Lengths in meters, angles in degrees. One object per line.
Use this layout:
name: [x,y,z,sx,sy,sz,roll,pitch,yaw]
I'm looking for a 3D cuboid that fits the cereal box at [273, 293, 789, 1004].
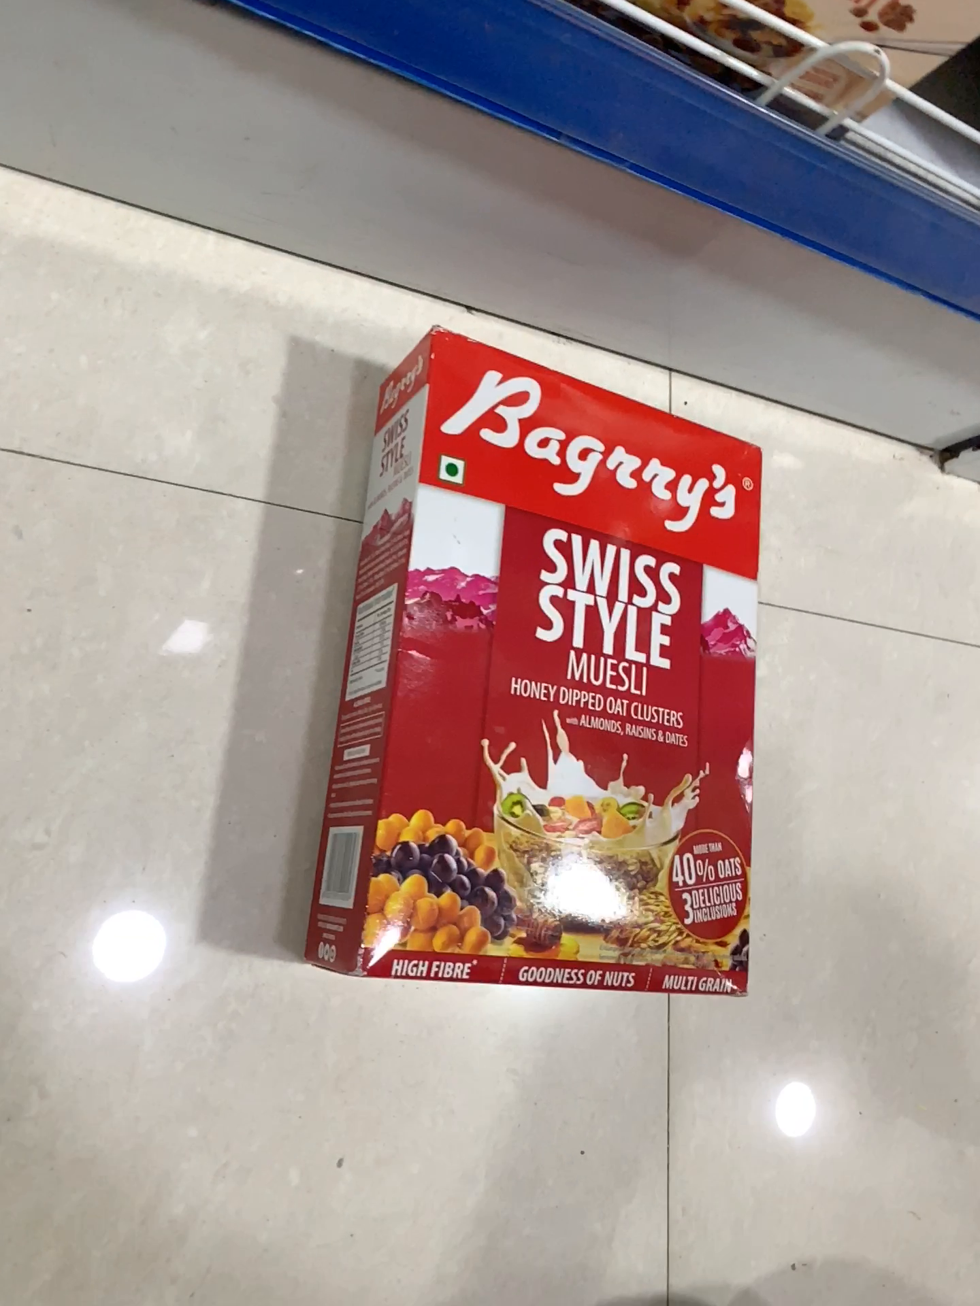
cereal box: [0.028,0.009,0.443,0.191,0.080,0.260,13,76,-26]
